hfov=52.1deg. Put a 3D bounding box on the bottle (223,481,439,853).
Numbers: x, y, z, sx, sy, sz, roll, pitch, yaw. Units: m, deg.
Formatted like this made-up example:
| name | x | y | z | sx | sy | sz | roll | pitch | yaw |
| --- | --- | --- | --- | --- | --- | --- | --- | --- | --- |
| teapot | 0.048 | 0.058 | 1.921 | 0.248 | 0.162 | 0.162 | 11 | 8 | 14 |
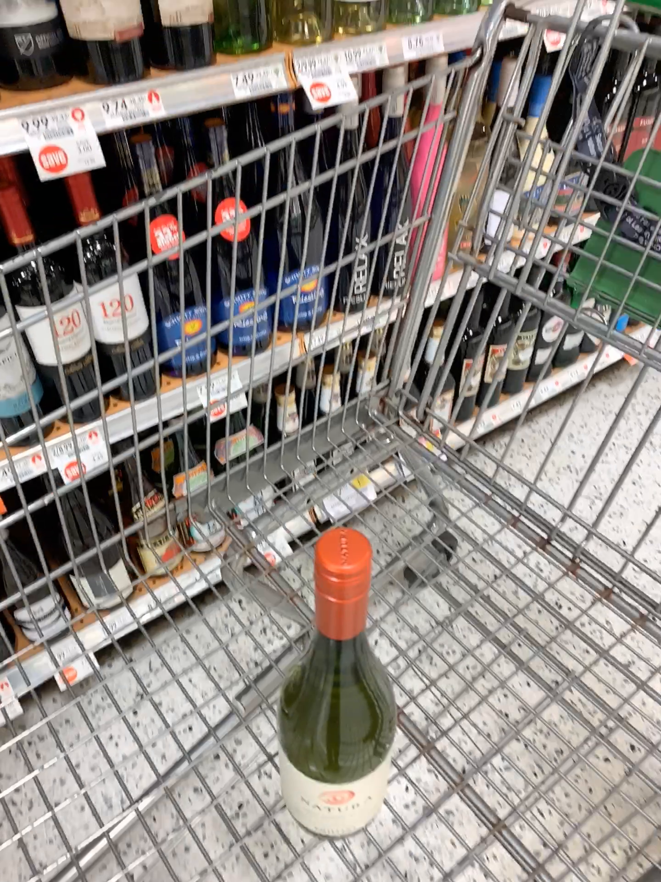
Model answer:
| name | x | y | z | sx | sy | sz | roll | pitch | yaw |
| --- | --- | --- | --- | --- | --- | --- | --- | --- | --- |
| bottle | 0.004 | 0.157 | 0.413 | 0.090 | 0.297 | 0.081 | 3 | 44 | 4 |
